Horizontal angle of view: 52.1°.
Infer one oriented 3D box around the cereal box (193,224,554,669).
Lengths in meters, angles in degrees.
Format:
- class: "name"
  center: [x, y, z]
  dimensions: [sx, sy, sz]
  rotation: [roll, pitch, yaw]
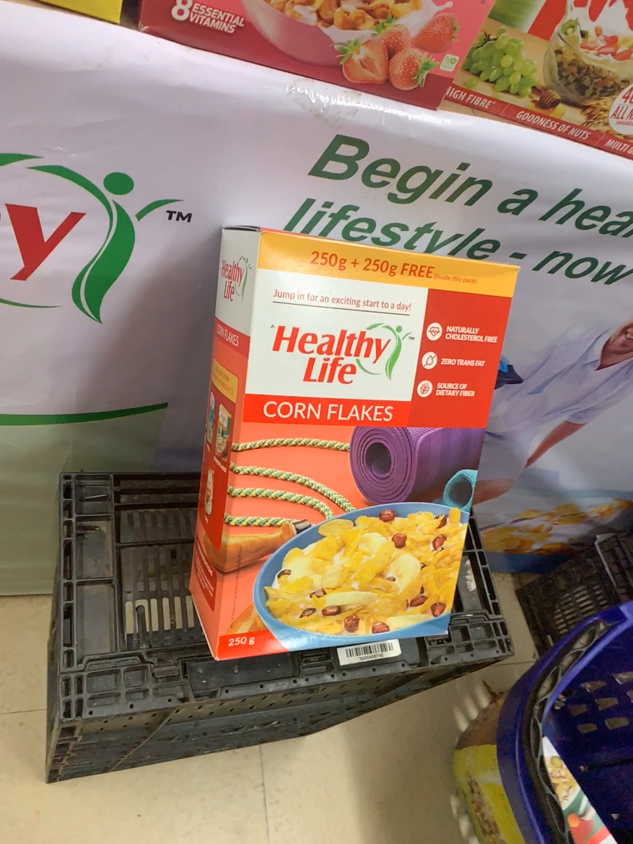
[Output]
- class: "cereal box"
  center: [0.031, 0.017, 0.467]
  dimensions: [0.200, 0.280, 0.090]
  rotation: [2, 15, -22]
